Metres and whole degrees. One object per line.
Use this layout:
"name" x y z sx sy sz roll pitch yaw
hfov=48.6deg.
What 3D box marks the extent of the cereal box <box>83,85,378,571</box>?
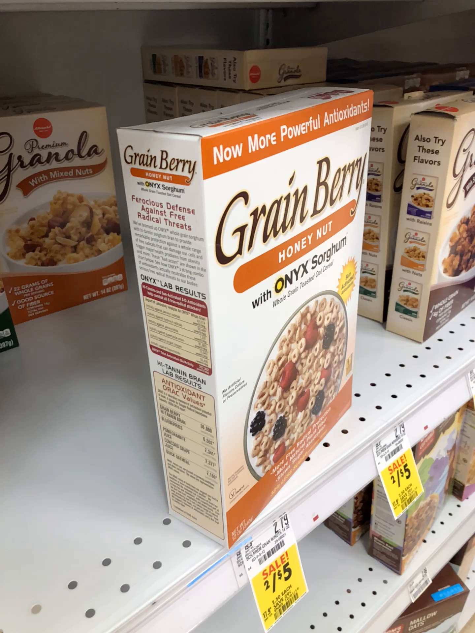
"cereal box" 0.014 0.000 0.384 0.070 0.289 0.200 18 35 32
